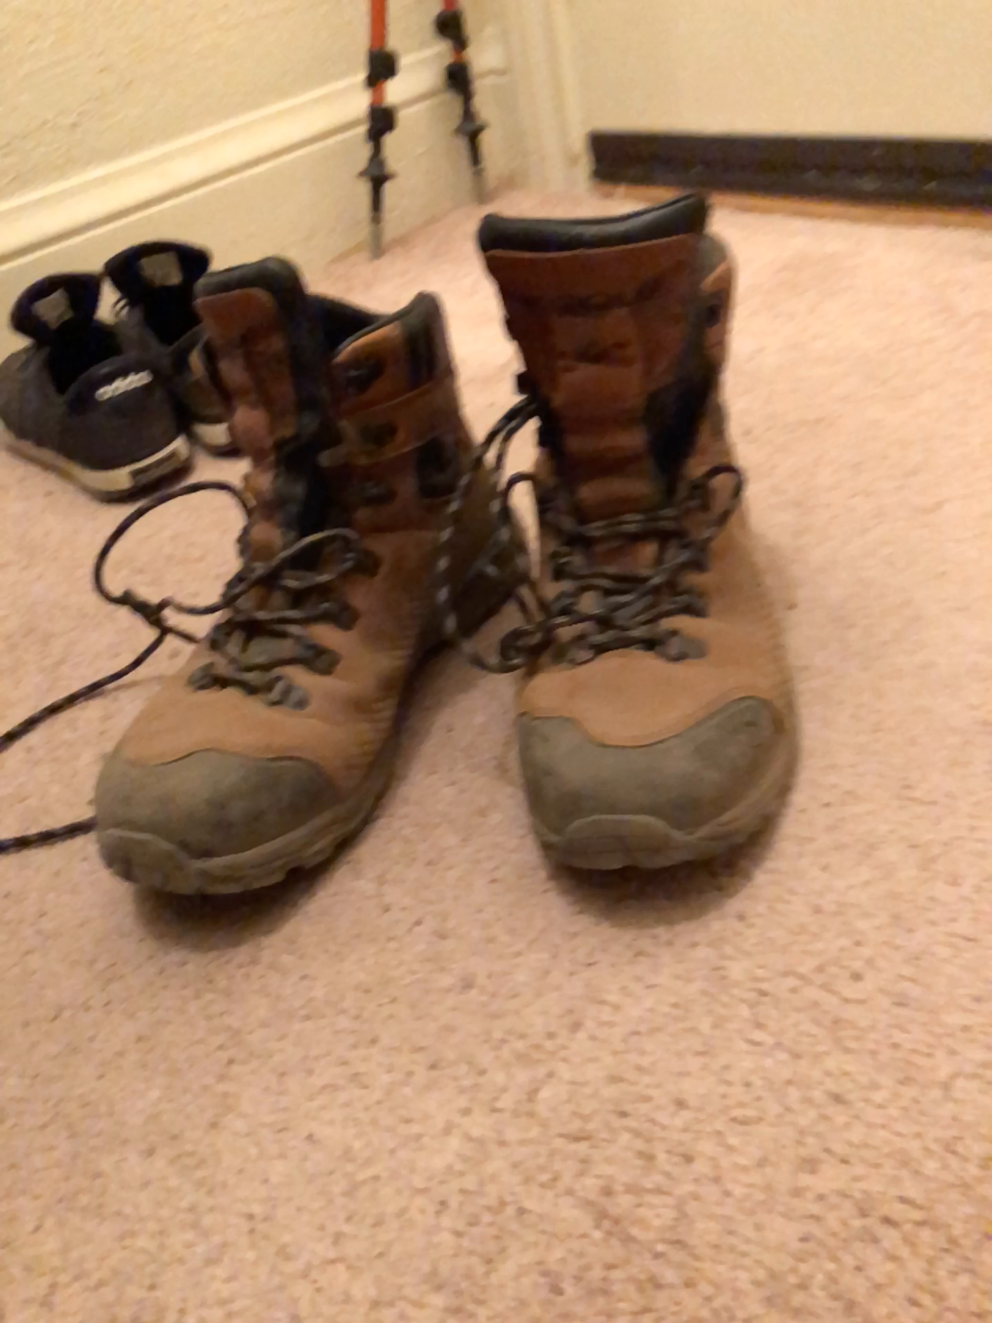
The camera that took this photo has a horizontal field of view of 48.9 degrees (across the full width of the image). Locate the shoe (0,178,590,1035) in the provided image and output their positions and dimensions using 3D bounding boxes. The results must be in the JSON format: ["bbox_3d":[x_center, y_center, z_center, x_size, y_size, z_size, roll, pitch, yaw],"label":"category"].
[{"bbox_3d":[-0.080,-0.046,0.483,0.120,0.219,0.312,7,41,24],"label":"shoe"}]

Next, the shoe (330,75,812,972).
[{"bbox_3d":[0.068,-0.075,0.459,0.120,0.229,0.312,0,39,17],"label":"shoe"}]
